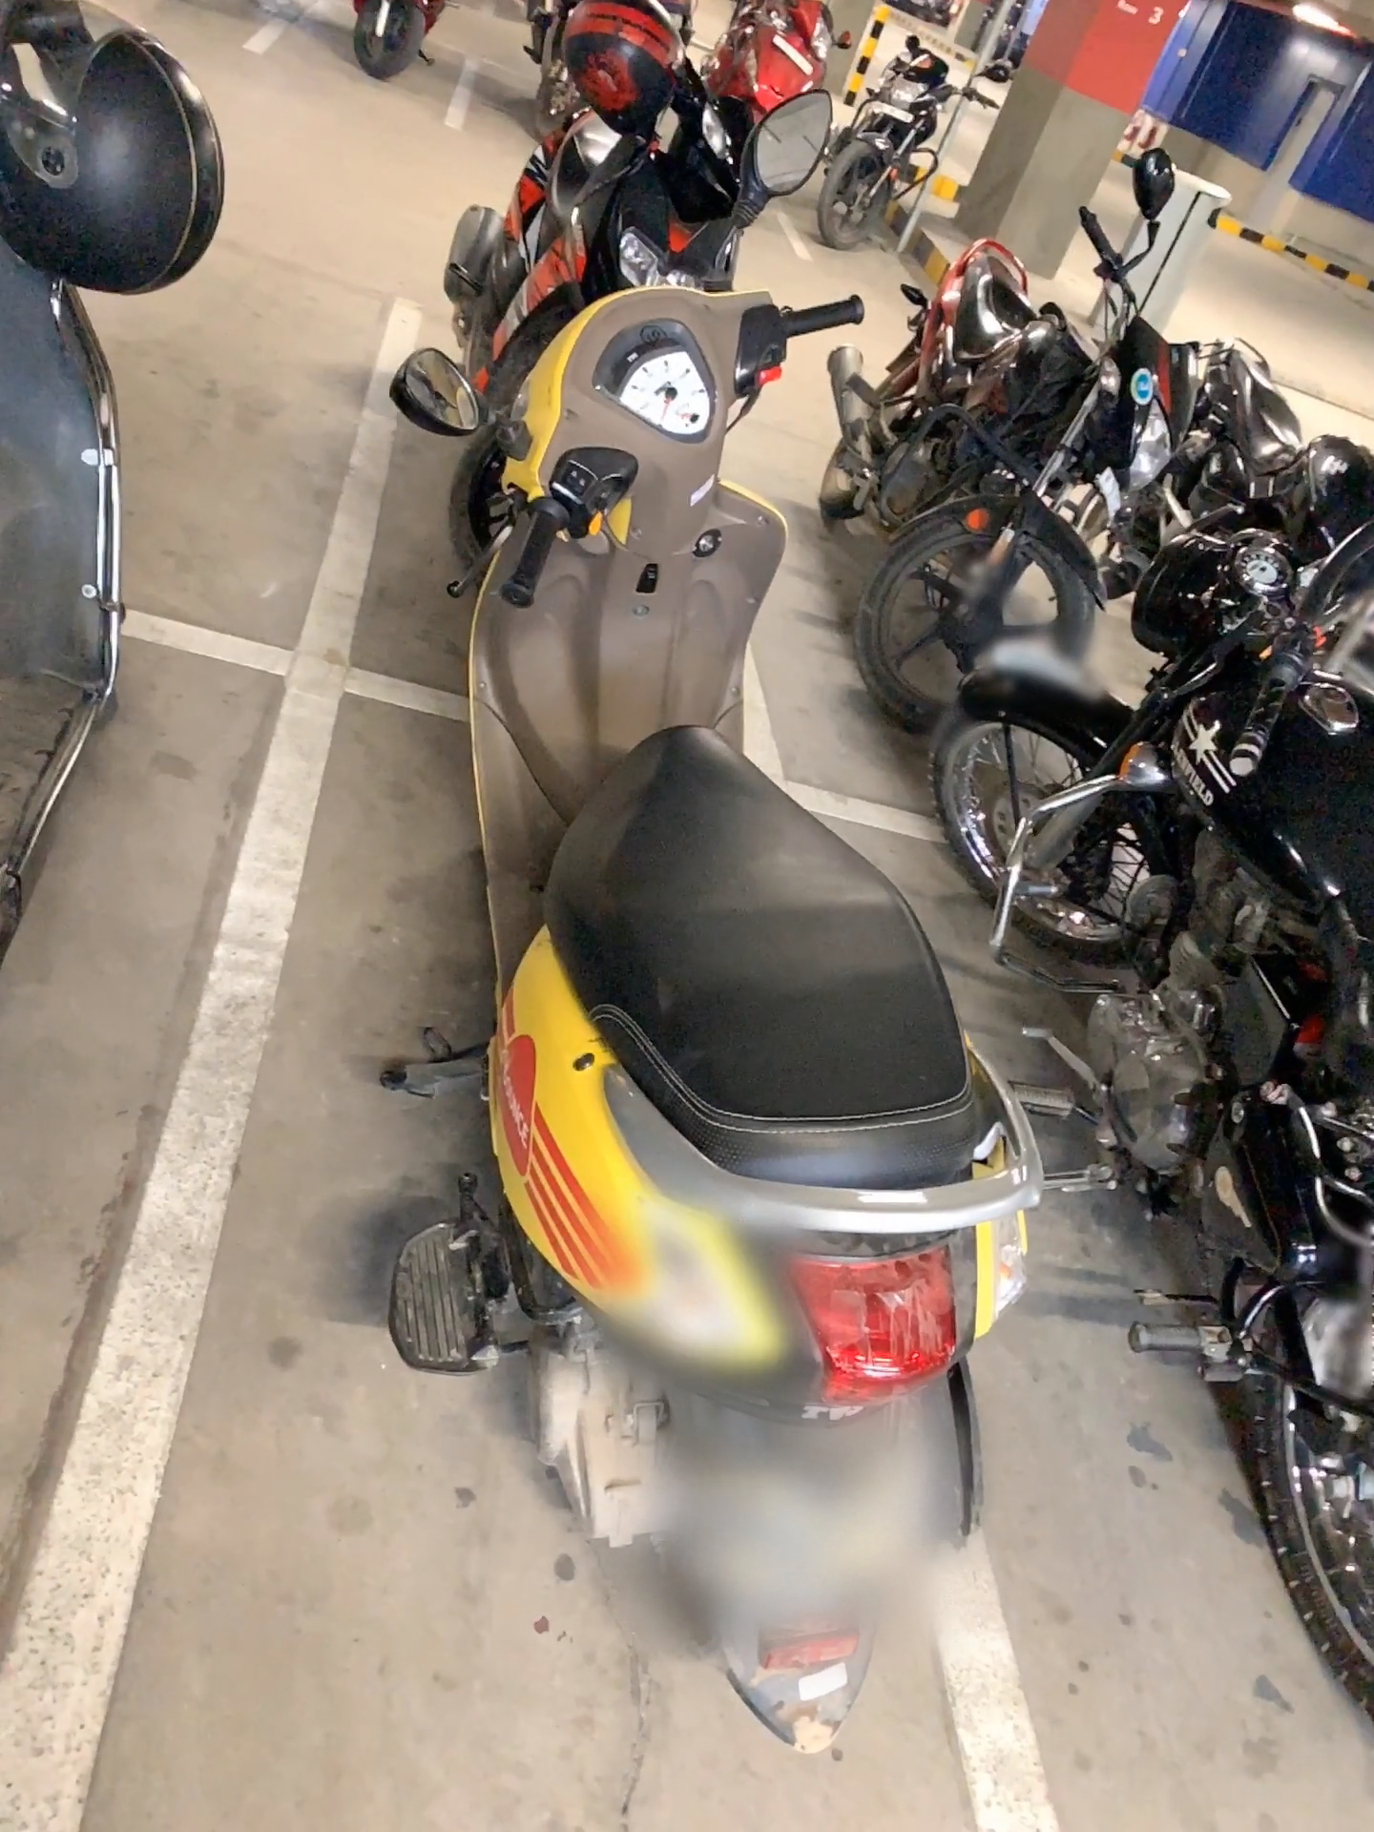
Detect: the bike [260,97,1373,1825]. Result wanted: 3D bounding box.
[{"bbox_3d":[-0.077,-0.148,1.640,0.567,1.048,1.712,9,36,-21],"label":"bike"}]
